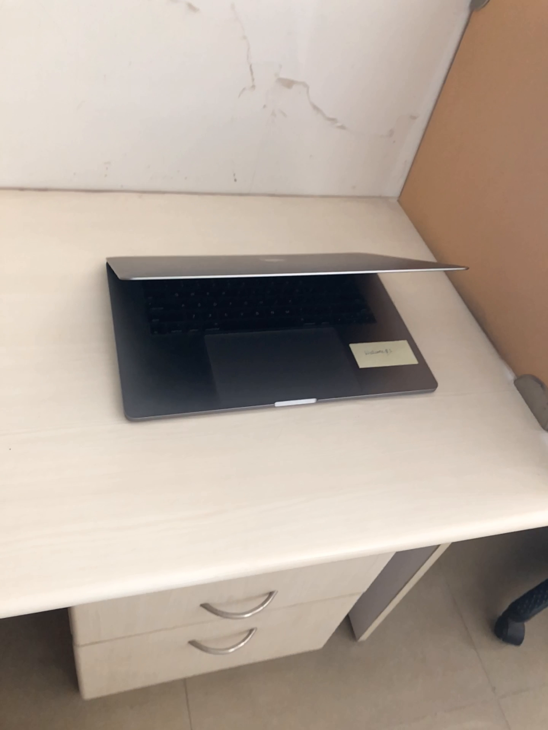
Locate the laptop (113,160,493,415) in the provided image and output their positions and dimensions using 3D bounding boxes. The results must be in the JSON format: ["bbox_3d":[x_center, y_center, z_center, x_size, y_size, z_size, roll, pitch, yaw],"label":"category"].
[{"bbox_3d":[0.007,-0.094,0.639,0.329,0.133,0.234,-4,48,-17],"label":"laptop"}]
